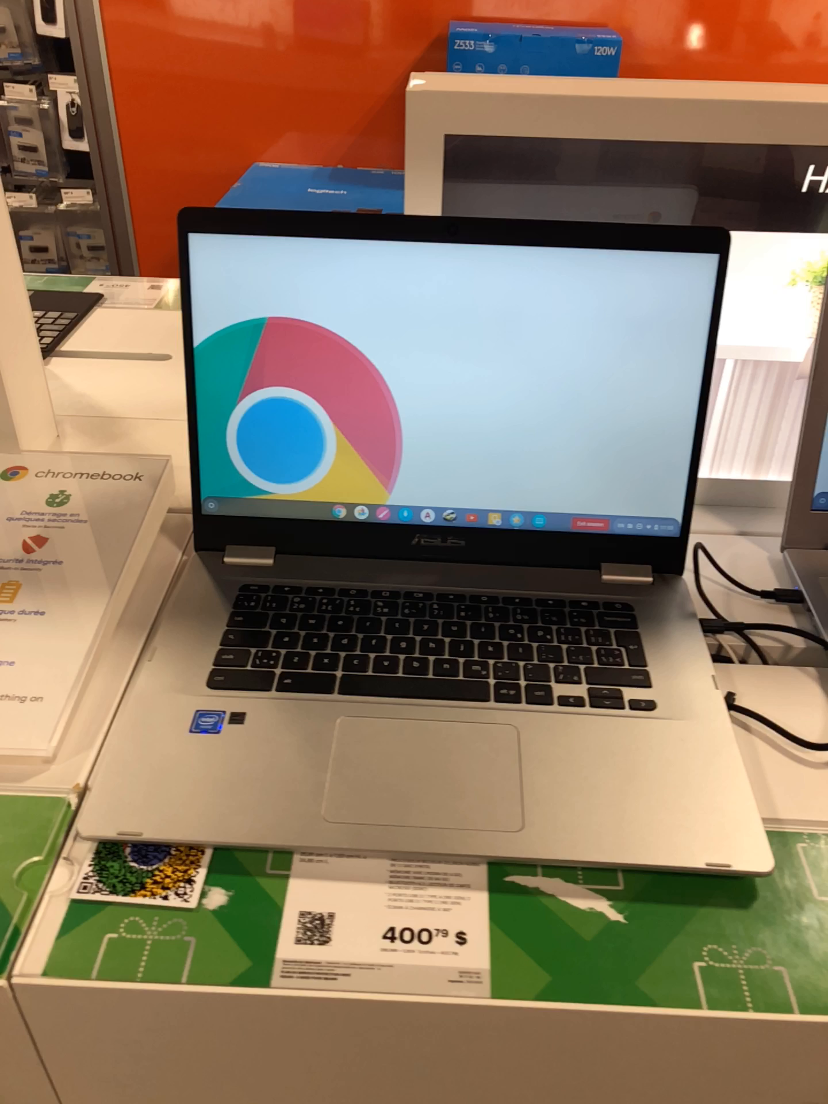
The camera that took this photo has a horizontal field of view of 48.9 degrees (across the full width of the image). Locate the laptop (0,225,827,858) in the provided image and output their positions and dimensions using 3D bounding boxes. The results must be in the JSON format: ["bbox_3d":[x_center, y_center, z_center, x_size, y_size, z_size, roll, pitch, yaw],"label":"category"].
[{"bbox_3d":[0.018,-0.026,0.506,0.337,0.225,0.287,2,35,2],"label":"laptop"}]
